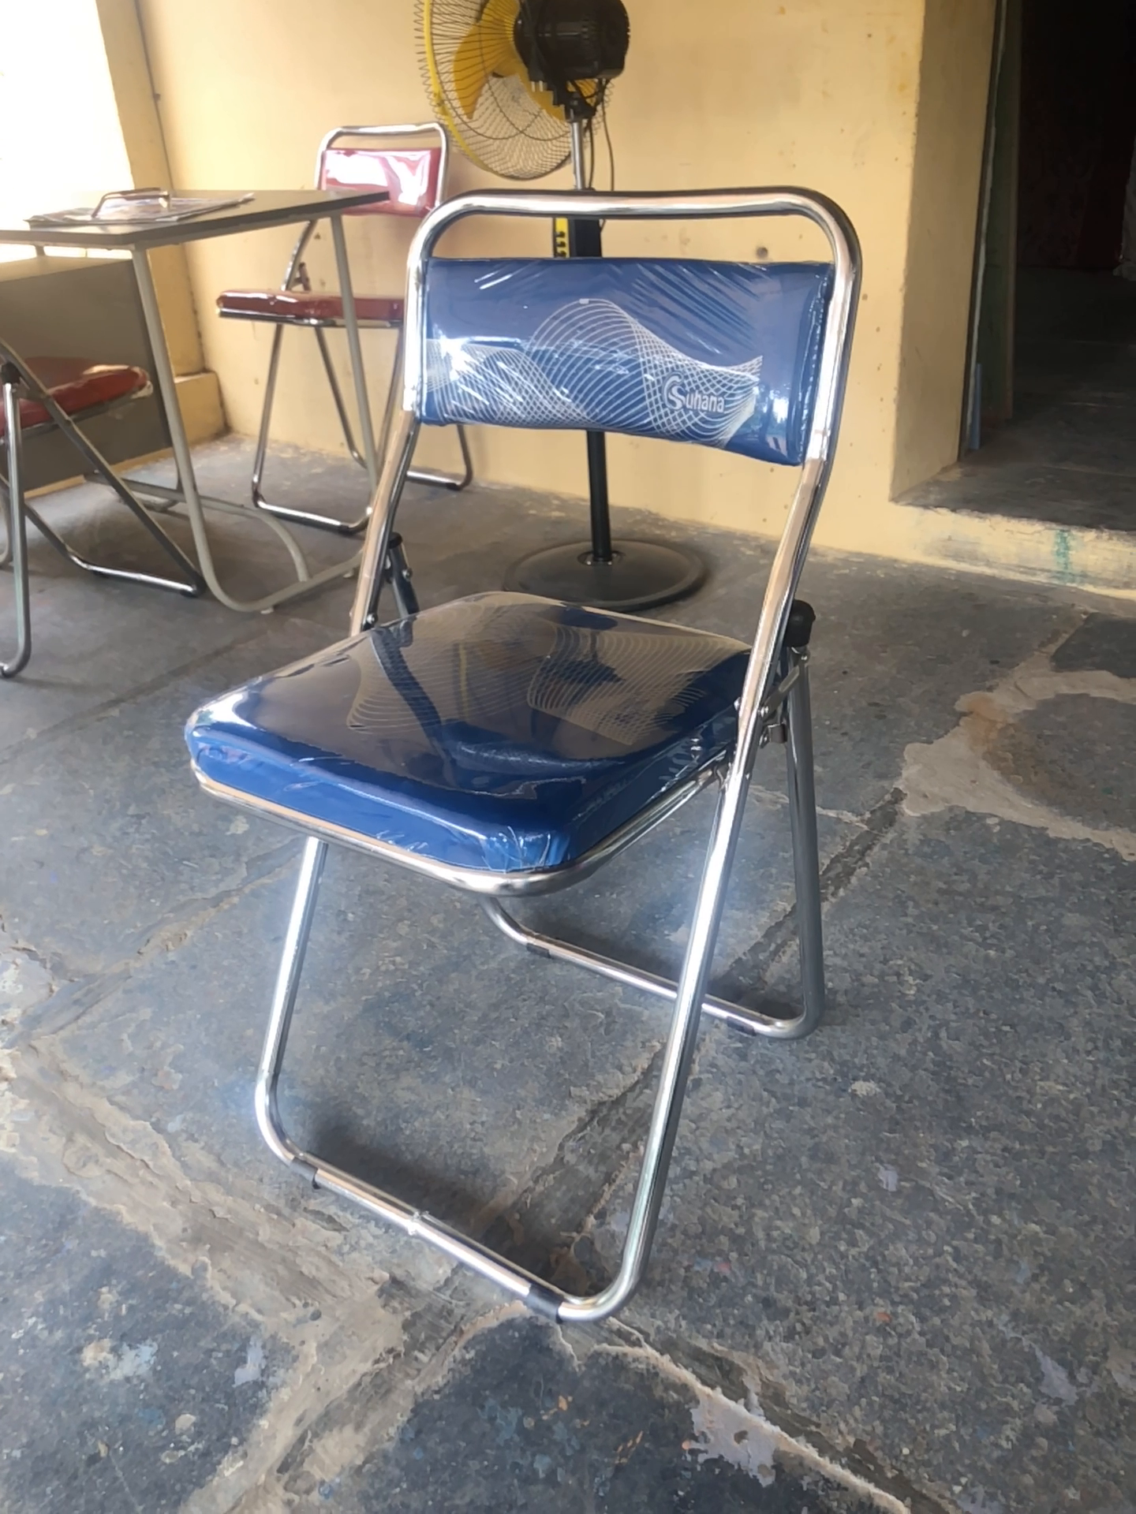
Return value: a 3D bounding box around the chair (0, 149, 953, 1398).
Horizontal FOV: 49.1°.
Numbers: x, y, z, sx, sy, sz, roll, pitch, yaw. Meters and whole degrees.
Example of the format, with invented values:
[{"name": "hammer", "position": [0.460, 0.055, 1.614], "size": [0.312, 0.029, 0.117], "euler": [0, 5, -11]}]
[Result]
[{"name": "chair", "position": [-0.042, -0.046, 1.052], "size": [0.500, 0.806, 0.513], "euler": [15, 31, 31]}]
